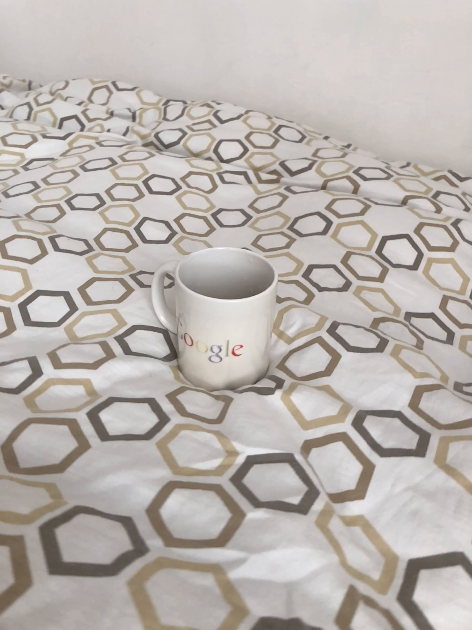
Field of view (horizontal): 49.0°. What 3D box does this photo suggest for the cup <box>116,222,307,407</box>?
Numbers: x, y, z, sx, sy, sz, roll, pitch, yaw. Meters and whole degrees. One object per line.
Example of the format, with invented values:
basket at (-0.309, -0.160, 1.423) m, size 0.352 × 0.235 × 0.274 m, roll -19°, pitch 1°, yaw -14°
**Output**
cup at (-0.021, -0.007, 0.437) m, size 0.126 × 0.087 × 0.087 m, roll 25°, pitch 41°, yaw 30°
